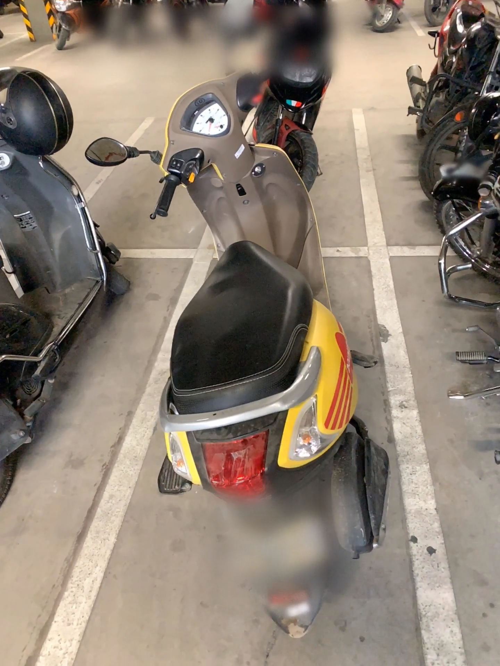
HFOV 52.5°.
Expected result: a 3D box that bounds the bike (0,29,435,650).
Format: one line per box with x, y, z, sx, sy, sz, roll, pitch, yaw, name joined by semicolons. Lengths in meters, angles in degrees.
-0.008;-0.194;1.575;0.566;1.048;1.713;-2;38;4;bike
